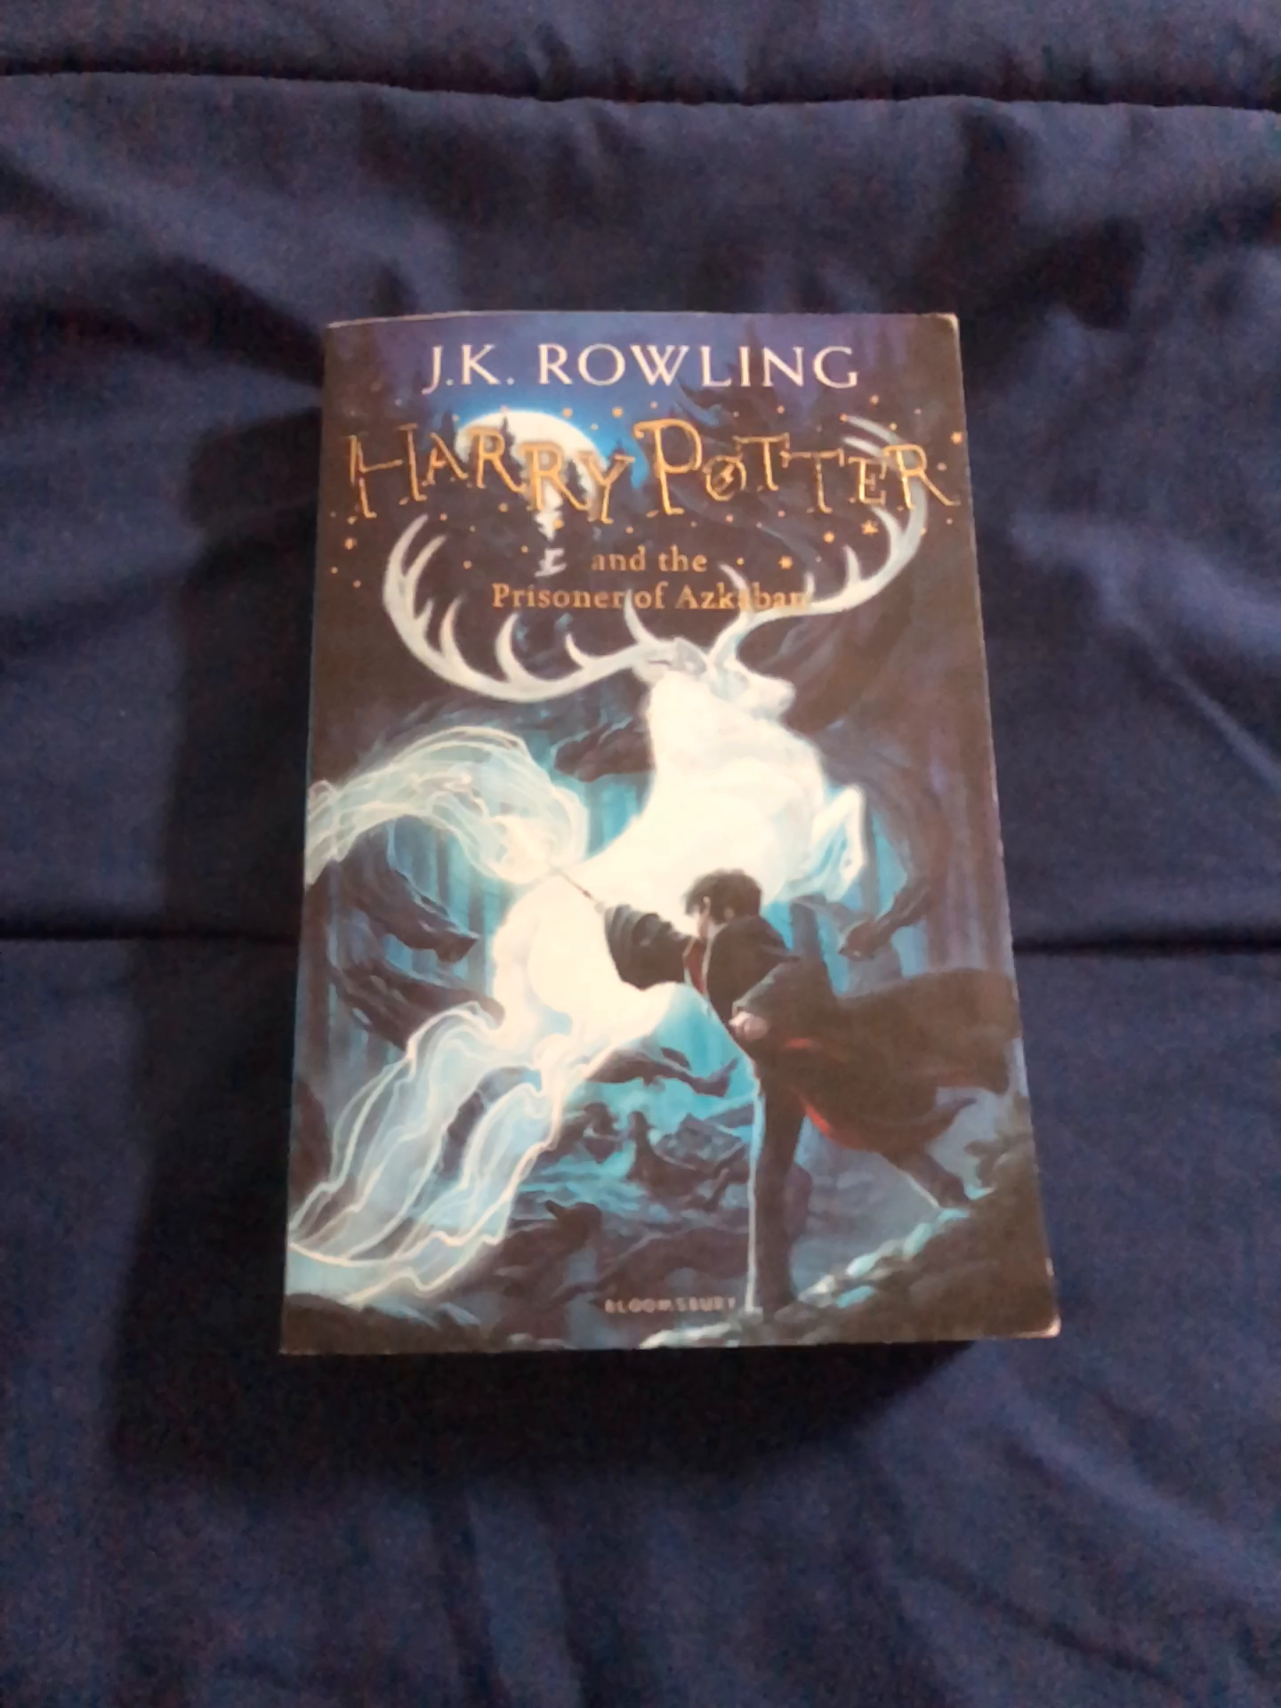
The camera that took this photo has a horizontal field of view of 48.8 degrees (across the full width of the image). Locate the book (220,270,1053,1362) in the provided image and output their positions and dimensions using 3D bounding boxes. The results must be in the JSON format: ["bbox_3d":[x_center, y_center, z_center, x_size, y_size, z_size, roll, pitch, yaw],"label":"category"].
[{"bbox_3d":[-0.002,-0.011,0.273,0.134,0.045,0.200,0,76,-1],"label":"book"}]
